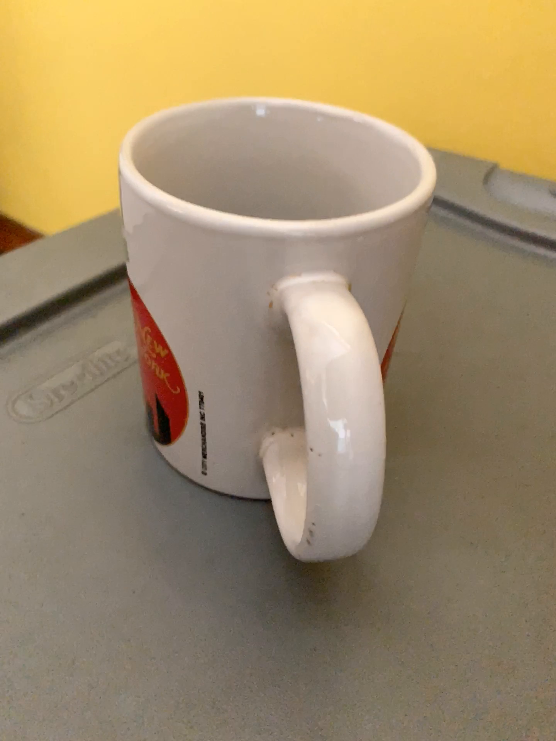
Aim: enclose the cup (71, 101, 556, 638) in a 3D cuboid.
[{"bbox_3d":[0.003,-0.009,0.173,0.097,0.095,0.119,-4,43,-9],"label":"cup"}]
